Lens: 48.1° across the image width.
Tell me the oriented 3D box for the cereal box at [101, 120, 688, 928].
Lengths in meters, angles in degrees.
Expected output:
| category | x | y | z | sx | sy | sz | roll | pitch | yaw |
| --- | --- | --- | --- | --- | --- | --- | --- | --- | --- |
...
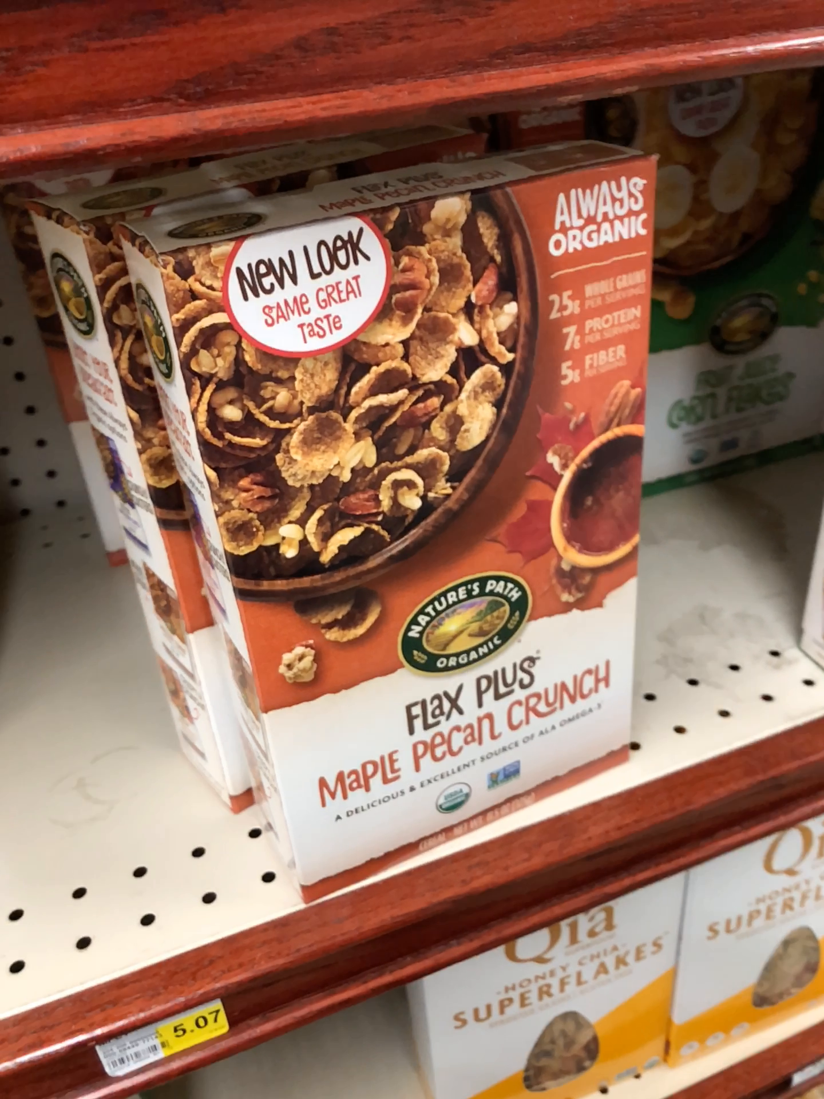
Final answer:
| category | x | y | z | sx | sy | sz | roll | pitch | yaw |
| --- | --- | --- | --- | --- | --- | --- | --- | --- | --- |
| cereal box | 0.007 | 0.000 | 0.336 | 0.160 | 0.259 | 0.060 | -18 | 34 | -18 |
